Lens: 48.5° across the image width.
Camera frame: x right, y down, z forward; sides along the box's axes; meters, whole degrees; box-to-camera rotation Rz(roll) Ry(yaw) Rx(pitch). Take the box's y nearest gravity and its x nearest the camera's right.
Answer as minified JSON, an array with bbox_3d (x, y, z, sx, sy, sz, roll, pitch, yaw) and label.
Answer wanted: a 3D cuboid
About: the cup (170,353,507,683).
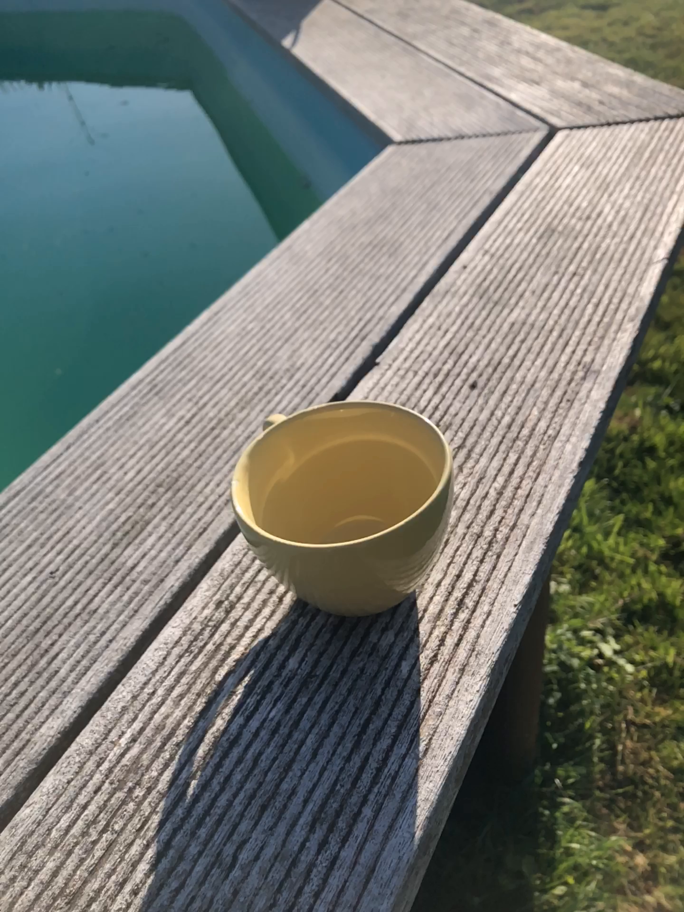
[{"bbox_3d":[-0.003,0.018,0.321,0.089,0.053,0.112,-28,43,-21],"label":"cup"}]
